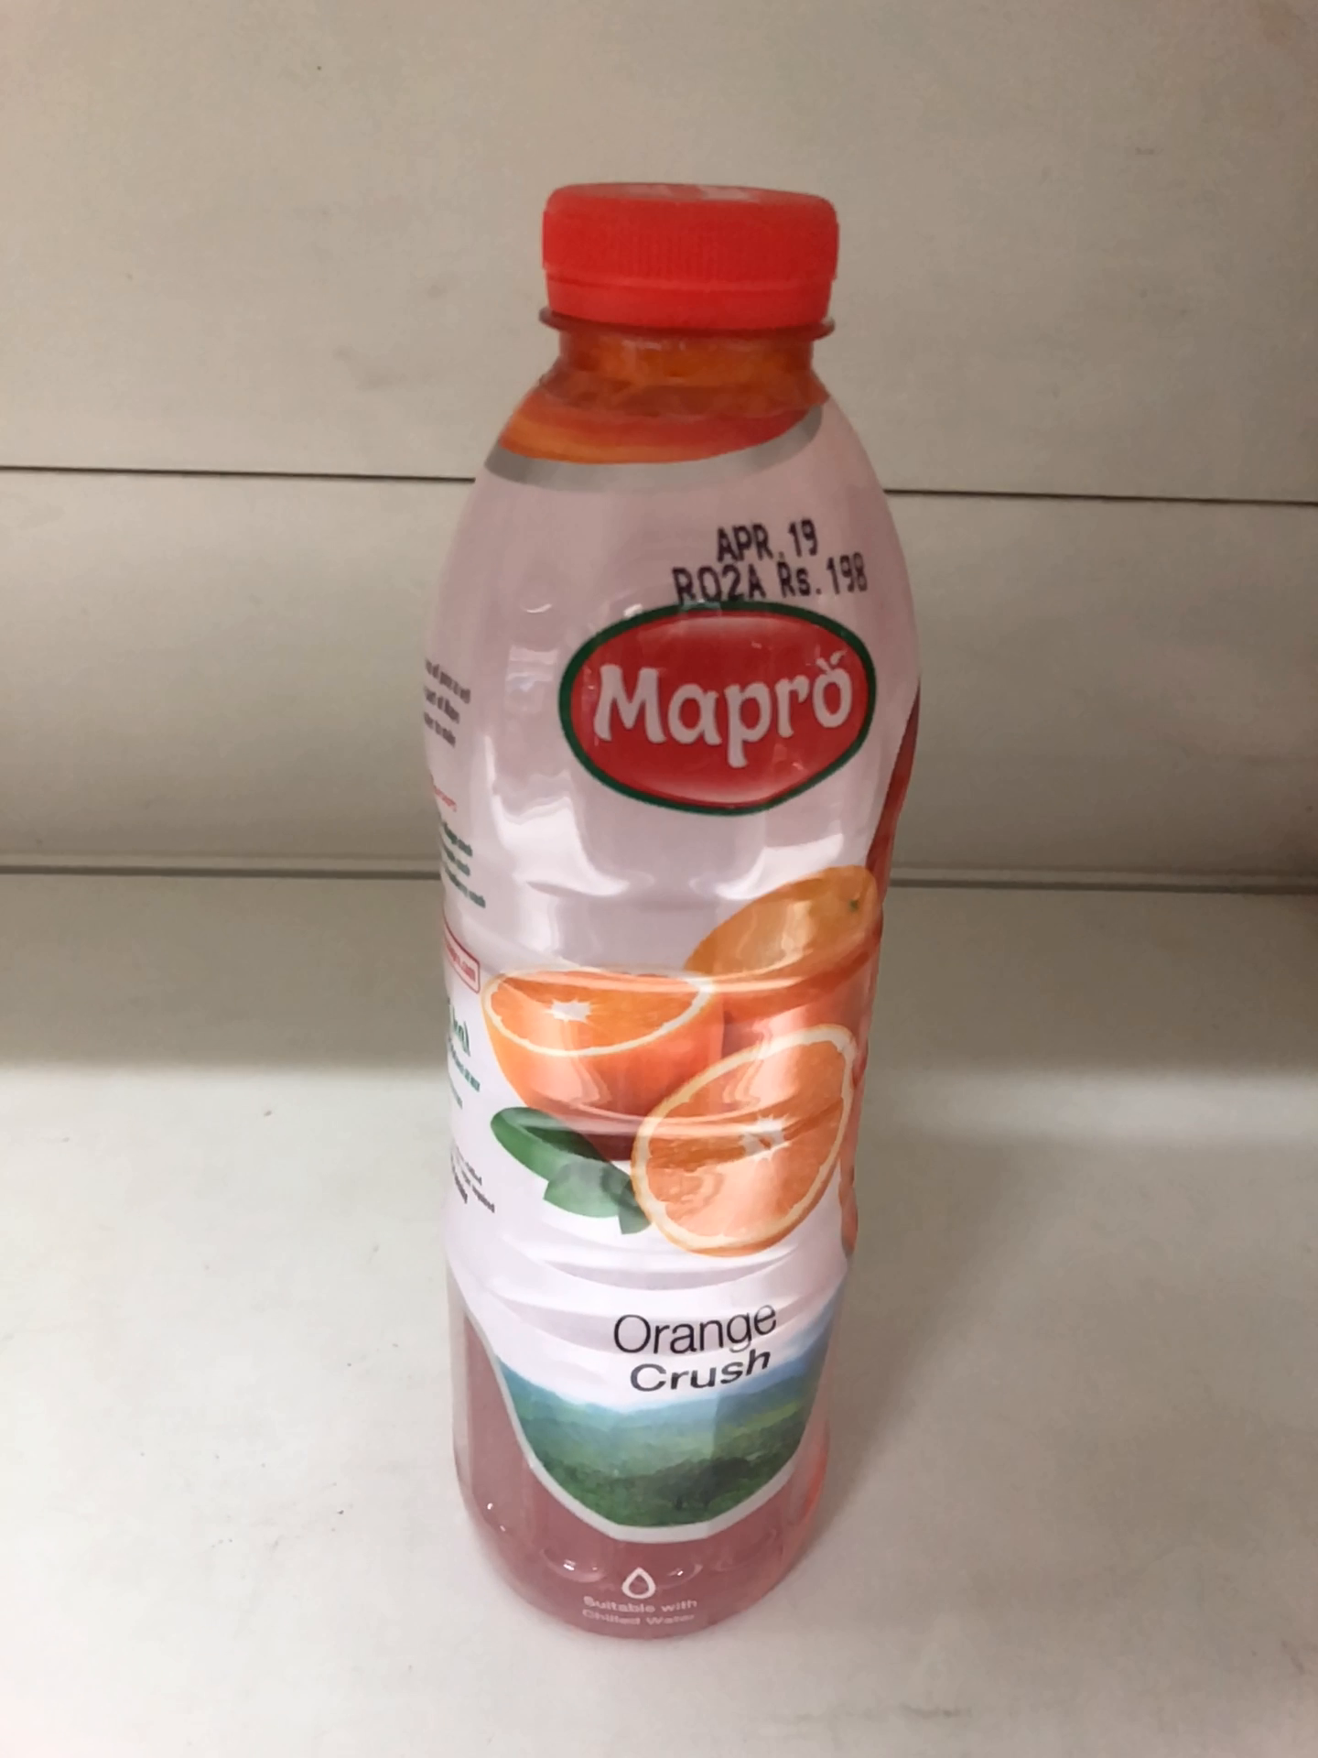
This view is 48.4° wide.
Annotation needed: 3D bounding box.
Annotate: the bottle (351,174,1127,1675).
[{"bbox_3d":[0.000,0.019,0.254,0.090,0.248,0.070,-3,28,-10],"label":"bottle"}]
